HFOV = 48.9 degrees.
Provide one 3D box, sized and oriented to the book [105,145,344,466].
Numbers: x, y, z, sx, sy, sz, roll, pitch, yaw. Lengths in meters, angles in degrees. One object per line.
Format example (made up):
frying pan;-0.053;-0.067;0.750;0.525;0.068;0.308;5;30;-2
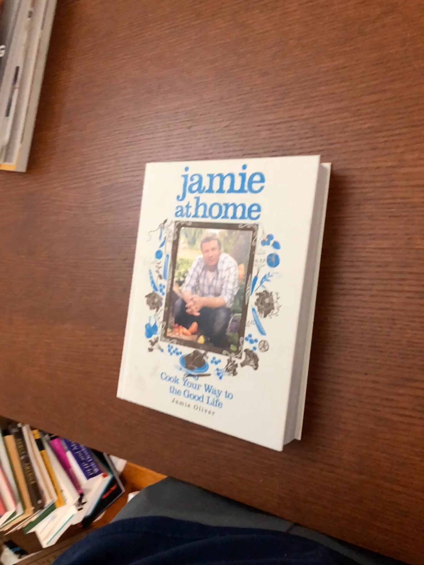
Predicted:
book;0.001;0.008;0.450;0.210;0.040;0.260;8;90;35
